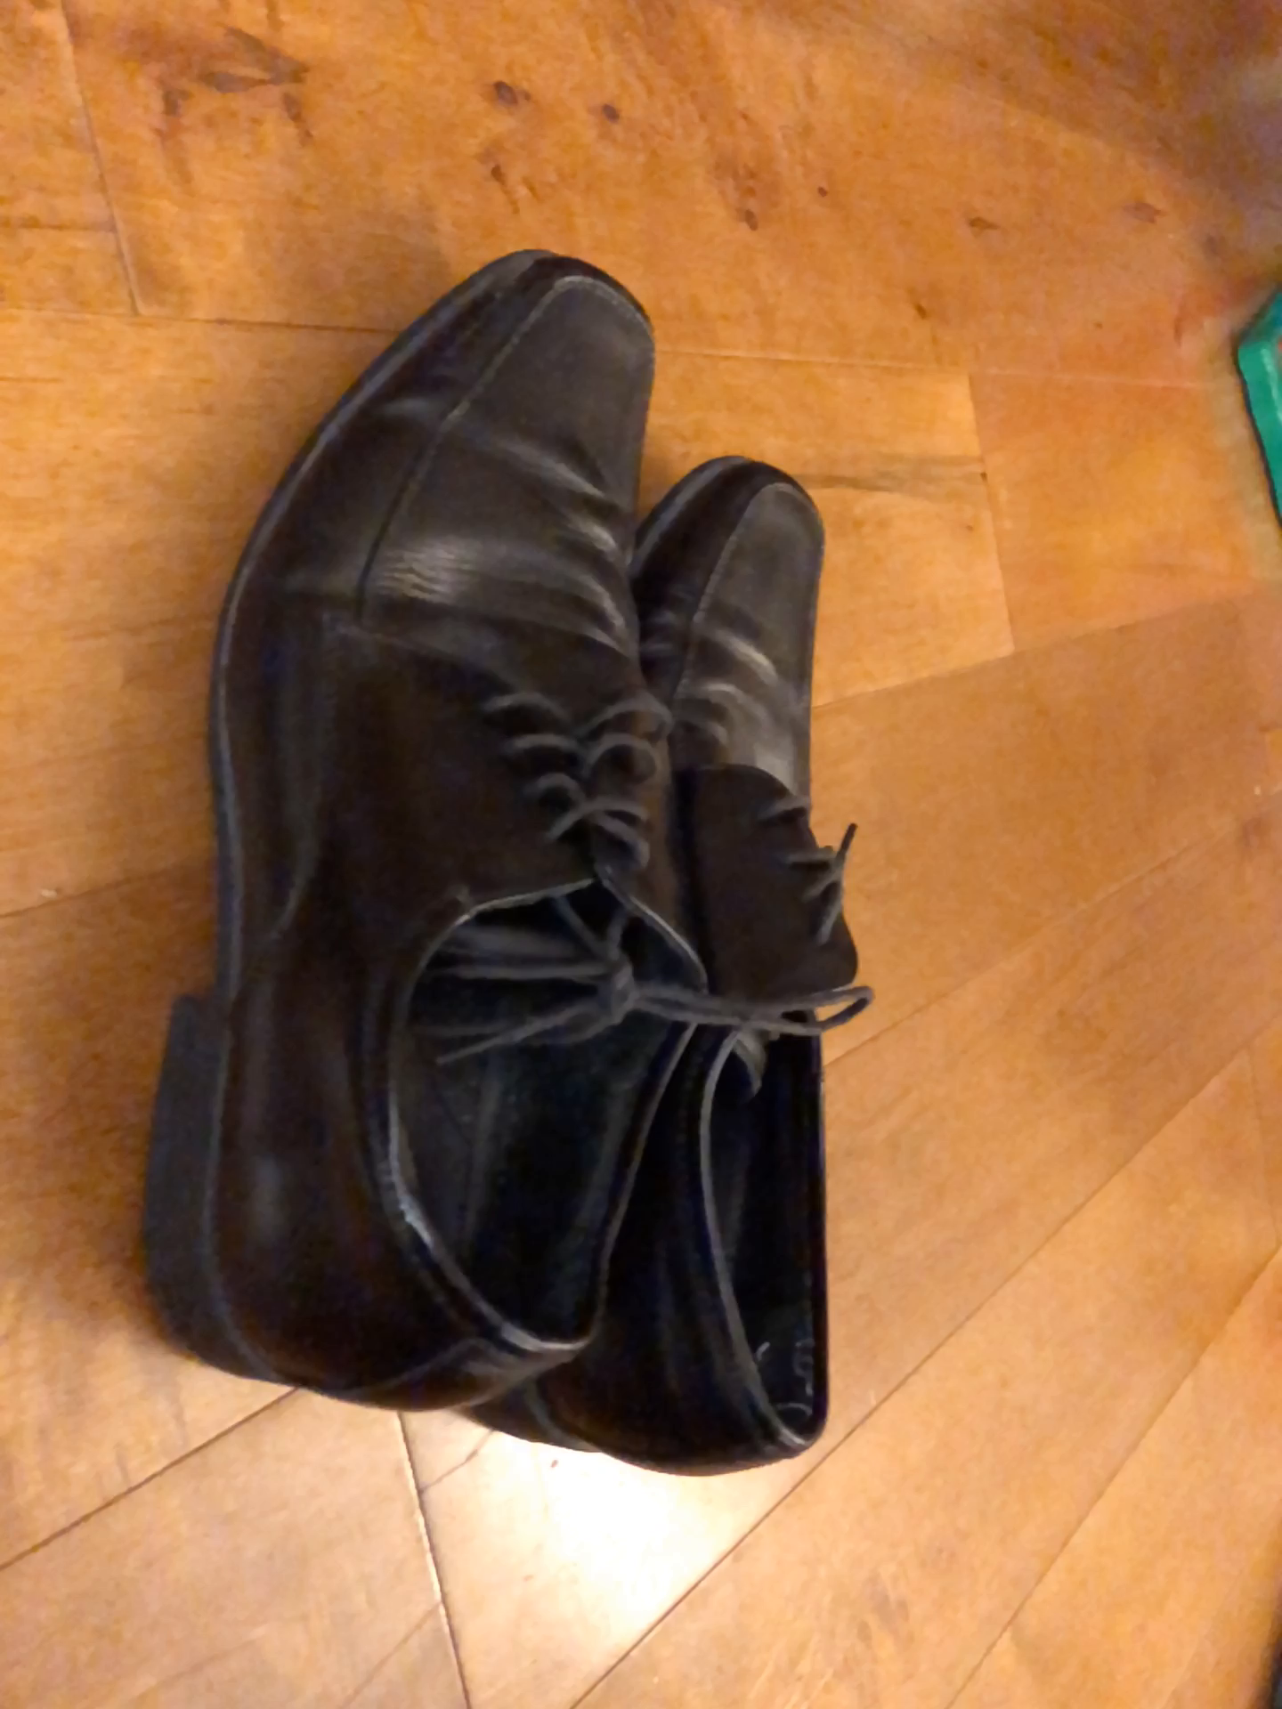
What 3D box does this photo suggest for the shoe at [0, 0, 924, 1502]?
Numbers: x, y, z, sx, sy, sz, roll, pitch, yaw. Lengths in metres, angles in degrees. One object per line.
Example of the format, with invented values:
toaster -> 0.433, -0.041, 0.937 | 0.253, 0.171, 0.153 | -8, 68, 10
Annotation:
shoe -> -0.038, -0.034, 0.325 | 0.110, 0.129, 0.311 | 28, 65, -43

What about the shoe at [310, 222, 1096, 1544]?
shoe -> 0.029, 0.007, 0.392 | 0.110, 0.129, 0.311 | 28, 65, -43
